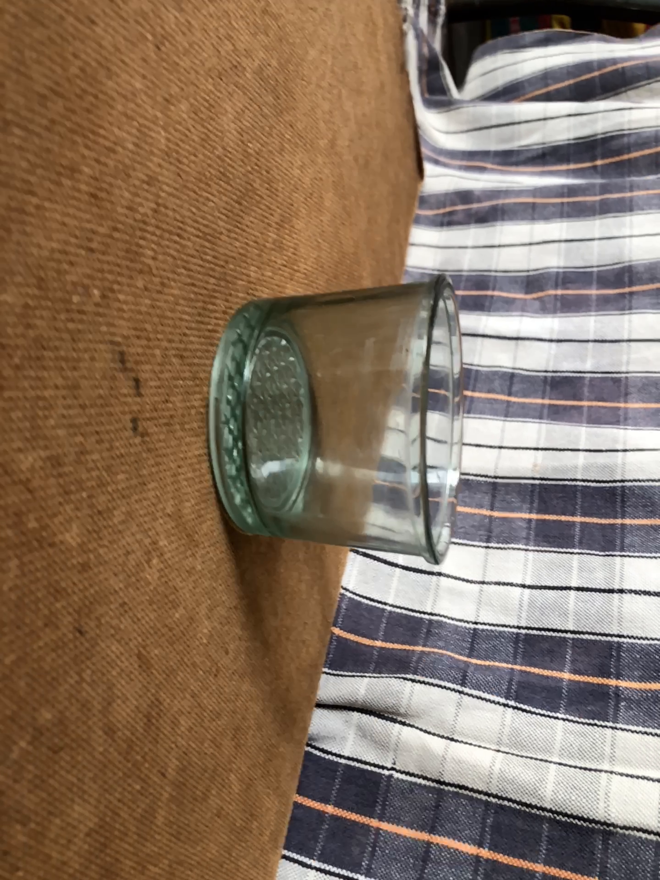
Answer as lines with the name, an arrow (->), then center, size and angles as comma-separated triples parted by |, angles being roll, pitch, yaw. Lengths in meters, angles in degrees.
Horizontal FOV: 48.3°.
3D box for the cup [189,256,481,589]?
cup -> 0.009, -0.011, 0.213 | 0.080, 0.060, 0.070 | -54, 142, -64
